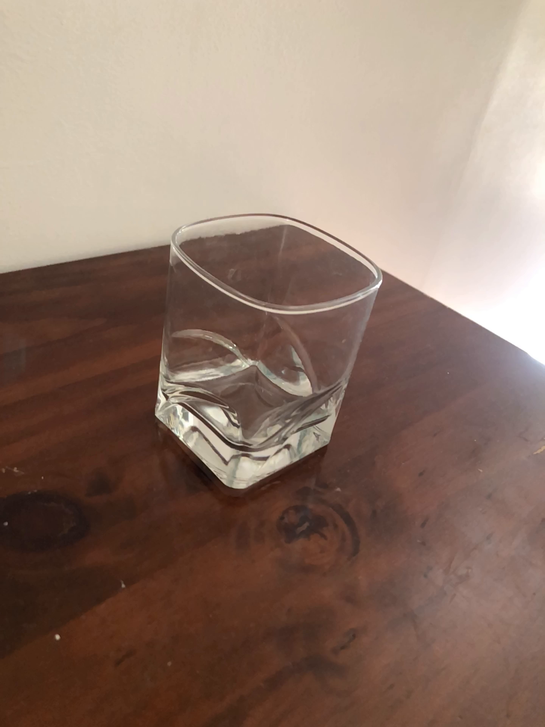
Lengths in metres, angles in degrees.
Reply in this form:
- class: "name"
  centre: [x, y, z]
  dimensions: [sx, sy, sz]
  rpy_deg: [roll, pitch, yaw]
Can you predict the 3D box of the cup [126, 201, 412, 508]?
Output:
- class: "cup"
  centre: [-0.006, -0.009, 0.256]
  dimensions: [0.078, 0.087, 0.076]
  rpy_deg: [8, 32, -5]
